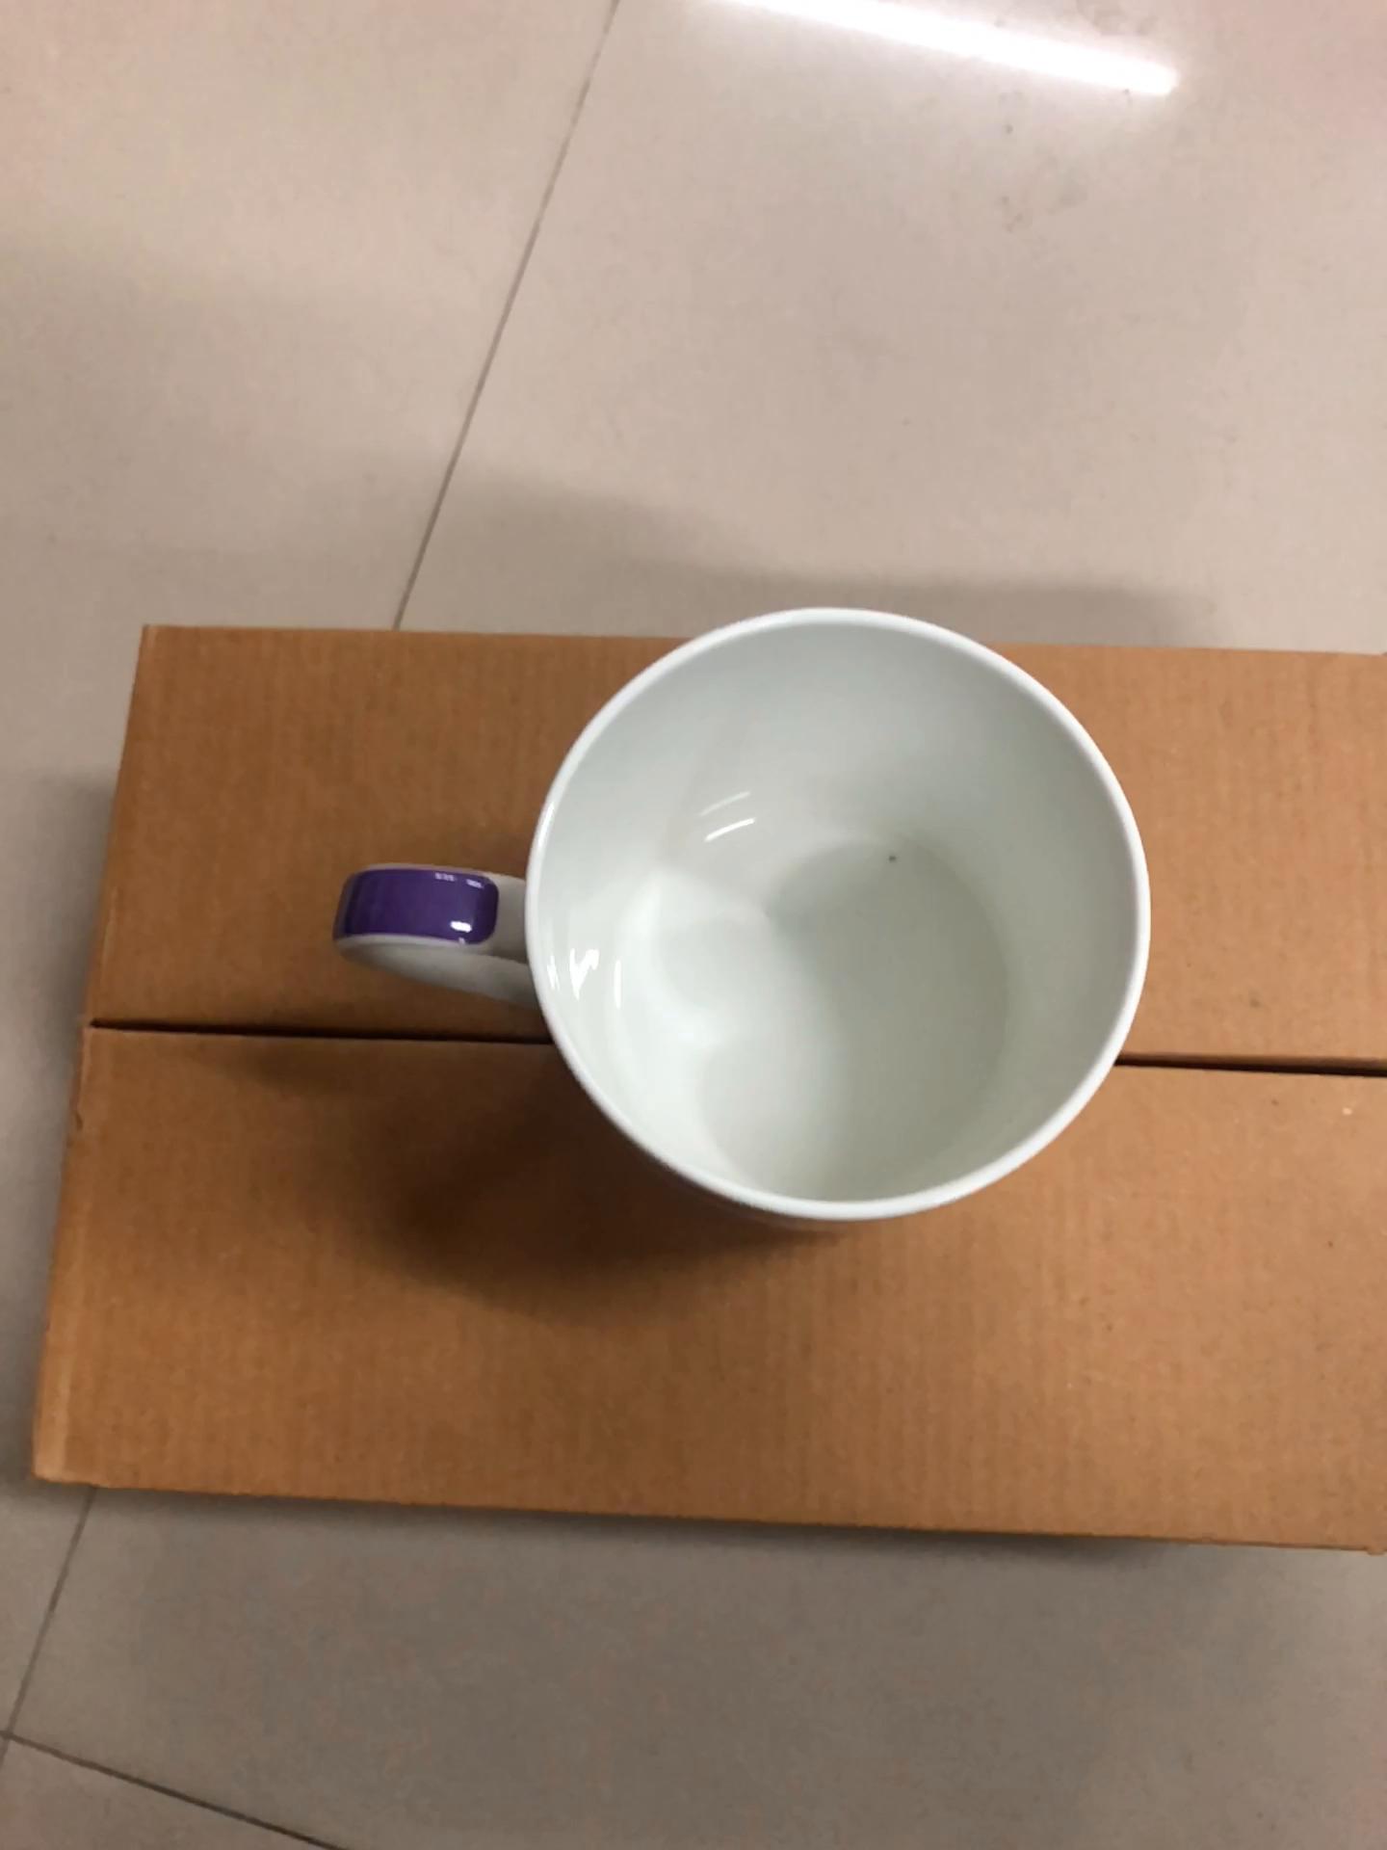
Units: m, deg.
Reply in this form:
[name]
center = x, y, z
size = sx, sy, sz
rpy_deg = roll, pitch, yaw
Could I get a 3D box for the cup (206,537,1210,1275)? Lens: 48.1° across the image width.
[cup]
center = 0.005, 0.004, 0.239
size = 0.120, 0.090, 0.090
rpy_deg = 3, 77, 3
